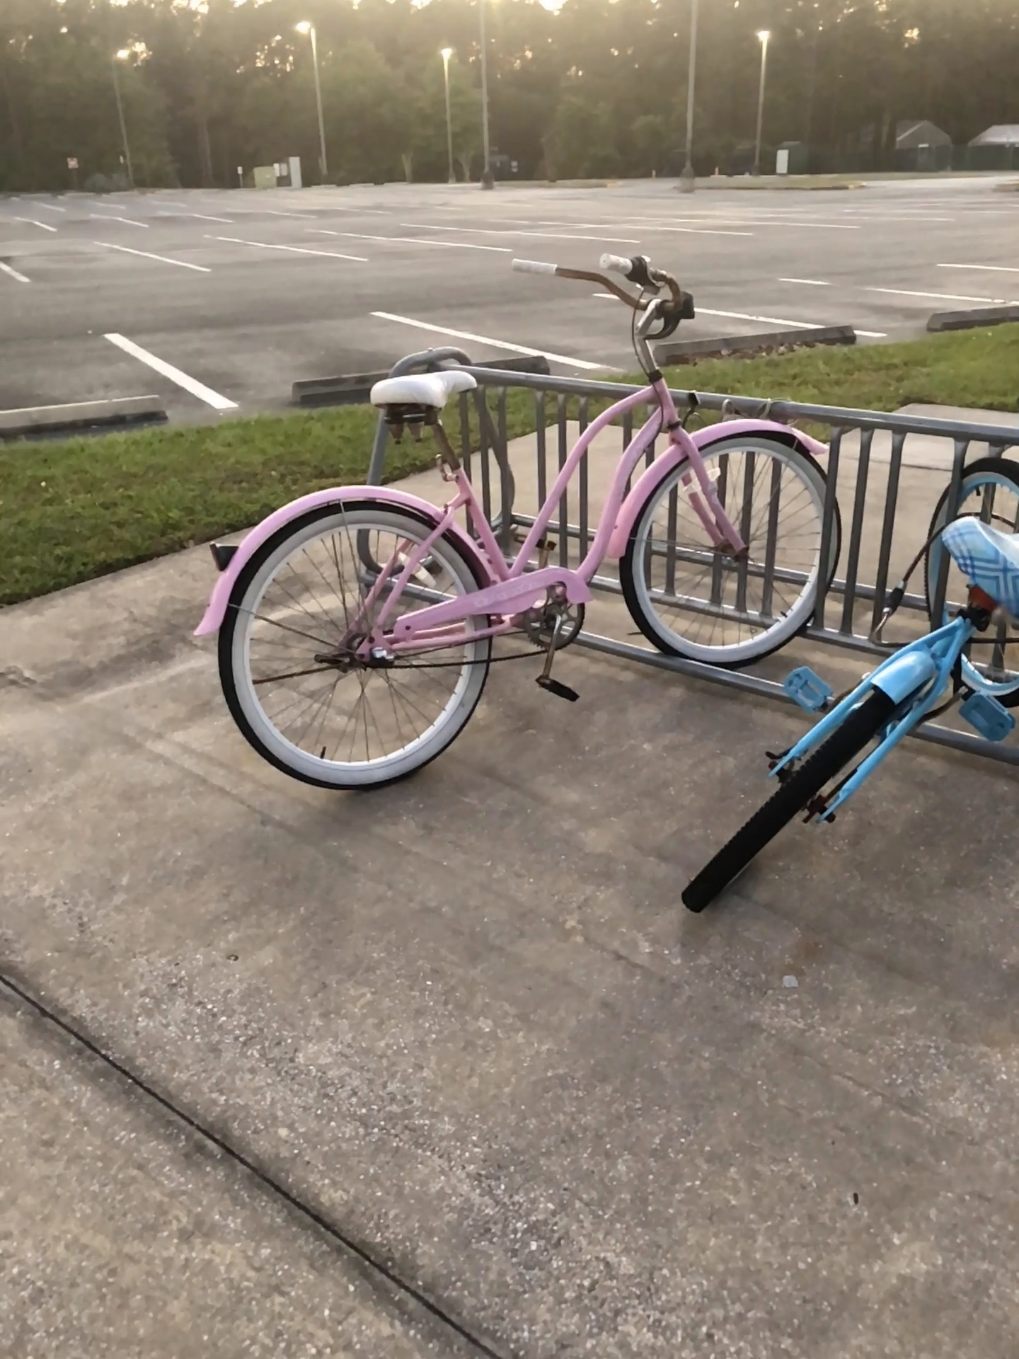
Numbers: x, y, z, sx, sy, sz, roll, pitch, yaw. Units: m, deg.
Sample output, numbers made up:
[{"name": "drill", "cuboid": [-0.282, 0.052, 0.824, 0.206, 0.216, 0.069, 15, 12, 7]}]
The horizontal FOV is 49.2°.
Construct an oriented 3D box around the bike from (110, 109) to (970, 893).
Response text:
[{"name": "bike", "cuboid": [0.071, -0.538, 2.627, 1.654, 1.116, 0.841, -21, 30, -23]}]
